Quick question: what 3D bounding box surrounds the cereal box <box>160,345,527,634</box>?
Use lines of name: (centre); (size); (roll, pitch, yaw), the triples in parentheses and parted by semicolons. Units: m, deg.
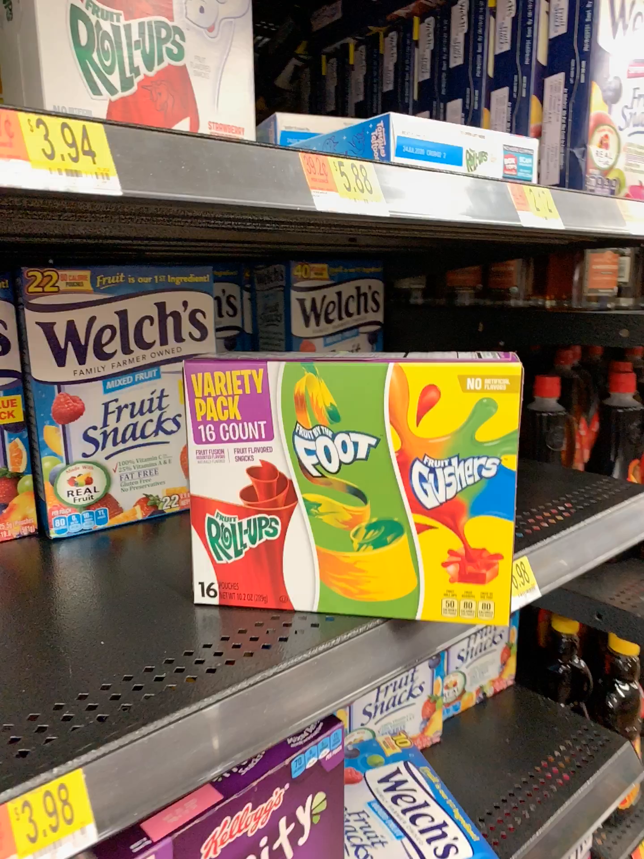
cereal box: (0.013, 0.033, 0.441); (0.220, 0.170, 0.060); (2, 12, 10)
